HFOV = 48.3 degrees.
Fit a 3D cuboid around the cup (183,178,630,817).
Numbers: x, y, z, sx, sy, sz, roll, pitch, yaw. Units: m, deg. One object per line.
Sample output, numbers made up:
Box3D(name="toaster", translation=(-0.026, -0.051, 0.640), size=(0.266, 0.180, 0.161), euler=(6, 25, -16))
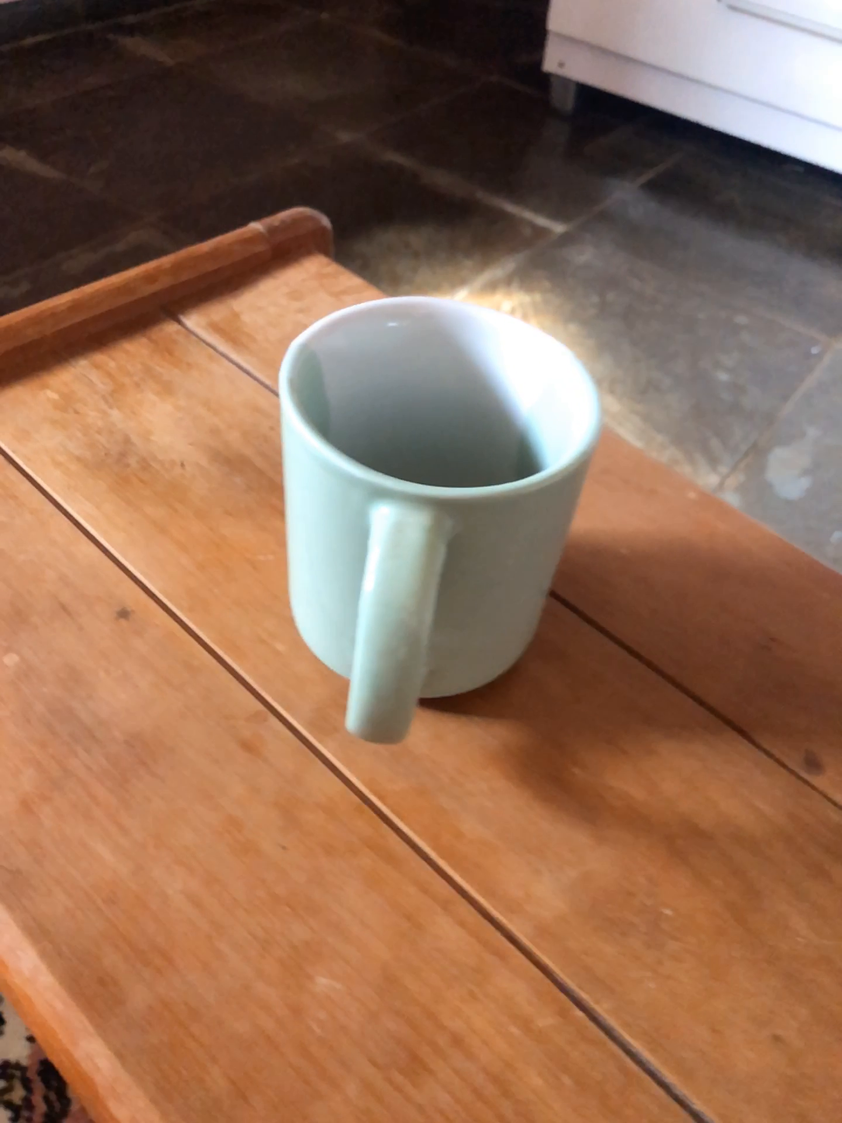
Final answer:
Box3D(name="cup", translation=(0.003, -0.021, 0.243), size=(0.080, 0.089, 0.131), euler=(9, 46, 3))
